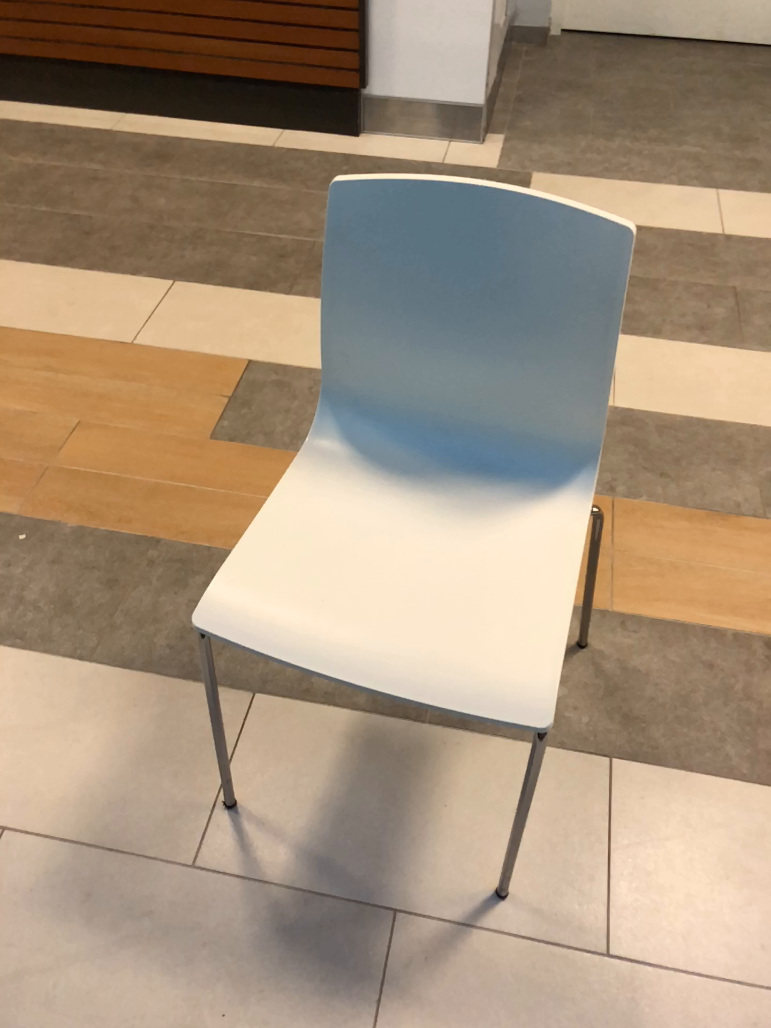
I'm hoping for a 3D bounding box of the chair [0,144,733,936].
[{"bbox_3d":[0.032,0.054,1.101,0.580,0.776,0.553,12,47,10],"label":"chair"}]
